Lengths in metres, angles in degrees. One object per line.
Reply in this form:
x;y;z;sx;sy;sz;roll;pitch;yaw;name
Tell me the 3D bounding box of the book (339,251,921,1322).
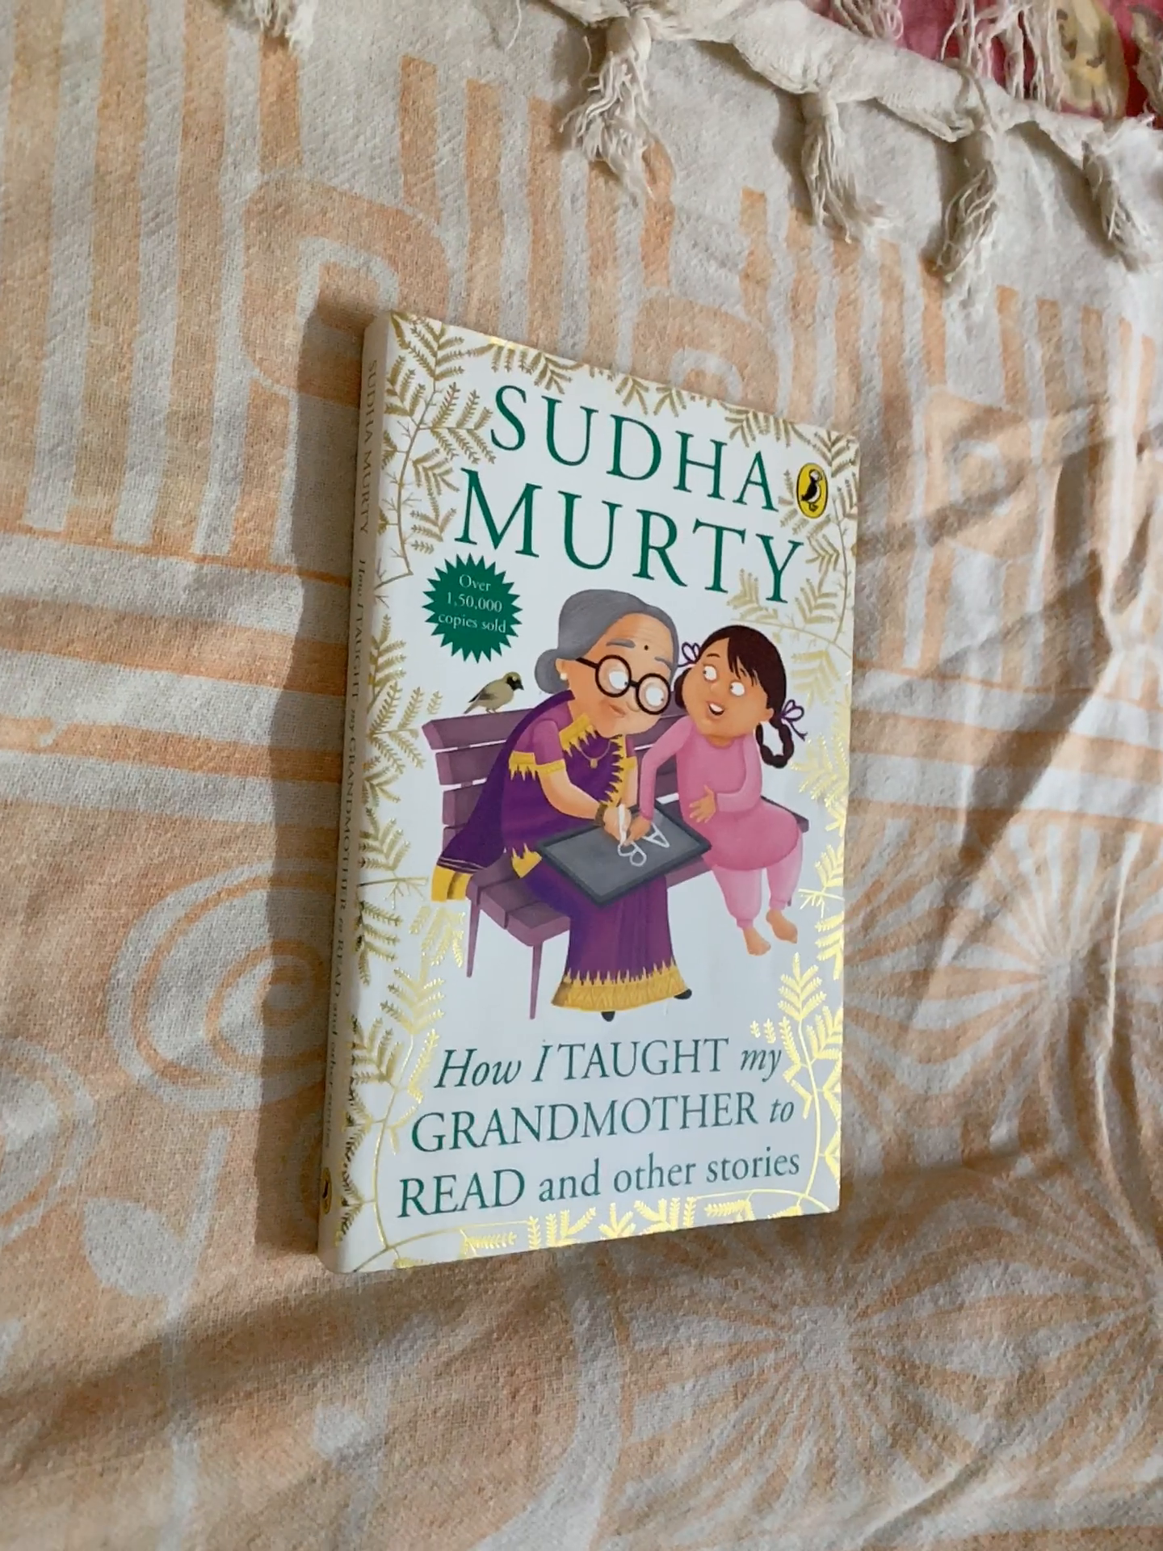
0.016;0.002;0.264;0.130;0.020;0.200;4;83;-28;book
